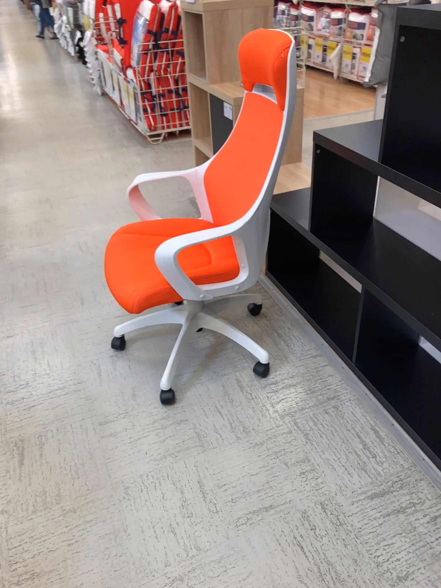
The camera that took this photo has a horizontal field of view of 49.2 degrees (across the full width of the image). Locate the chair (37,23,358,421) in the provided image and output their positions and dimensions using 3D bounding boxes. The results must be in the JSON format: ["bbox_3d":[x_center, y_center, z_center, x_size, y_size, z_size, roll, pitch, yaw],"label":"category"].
[{"bbox_3d":[-0.095,-0.275,1.650,0.751,1.054,0.683,-12,34,-13],"label":"chair"}]
